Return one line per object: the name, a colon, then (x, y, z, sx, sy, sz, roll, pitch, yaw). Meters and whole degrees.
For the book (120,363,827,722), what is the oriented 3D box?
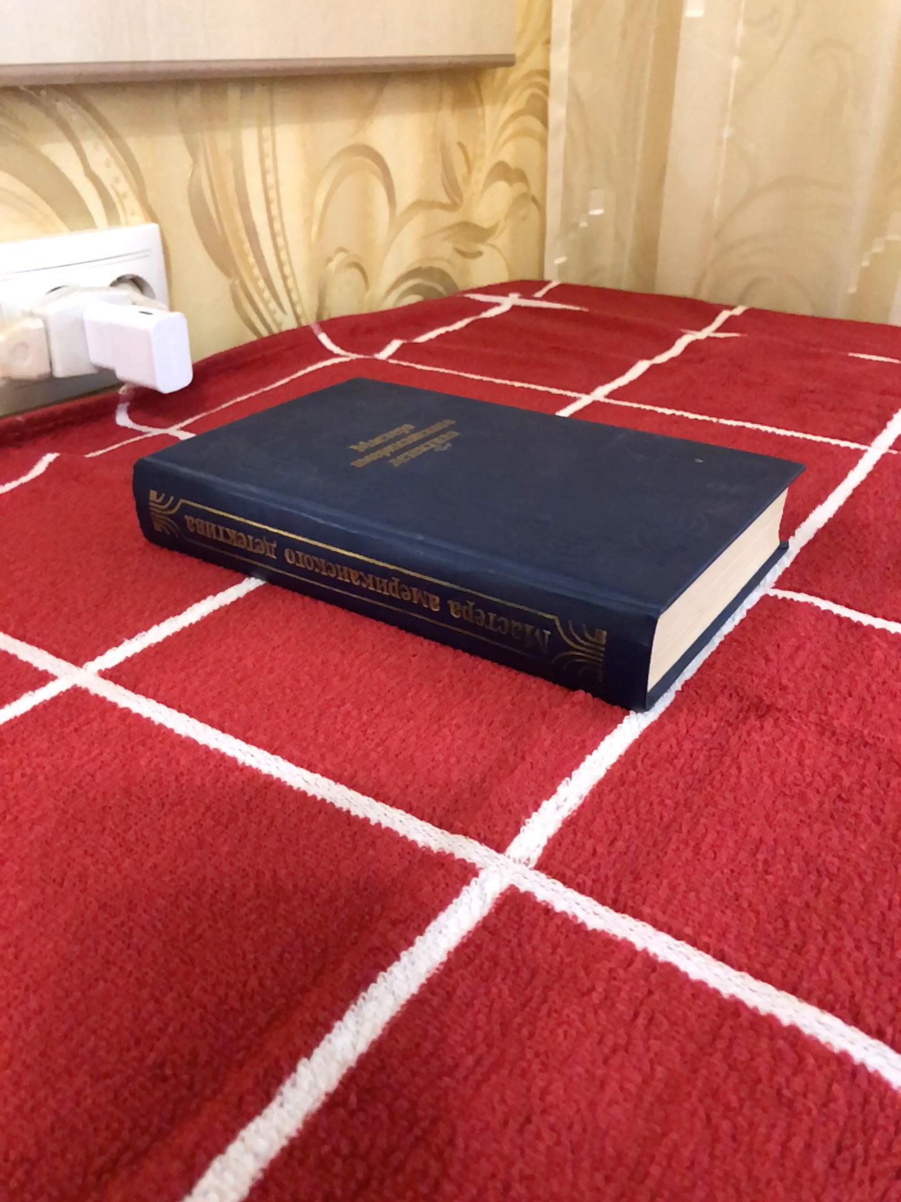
book: (0.010, -0.037, 0.345, 0.193, 0.030, 0.143, 18, 33, 28)
